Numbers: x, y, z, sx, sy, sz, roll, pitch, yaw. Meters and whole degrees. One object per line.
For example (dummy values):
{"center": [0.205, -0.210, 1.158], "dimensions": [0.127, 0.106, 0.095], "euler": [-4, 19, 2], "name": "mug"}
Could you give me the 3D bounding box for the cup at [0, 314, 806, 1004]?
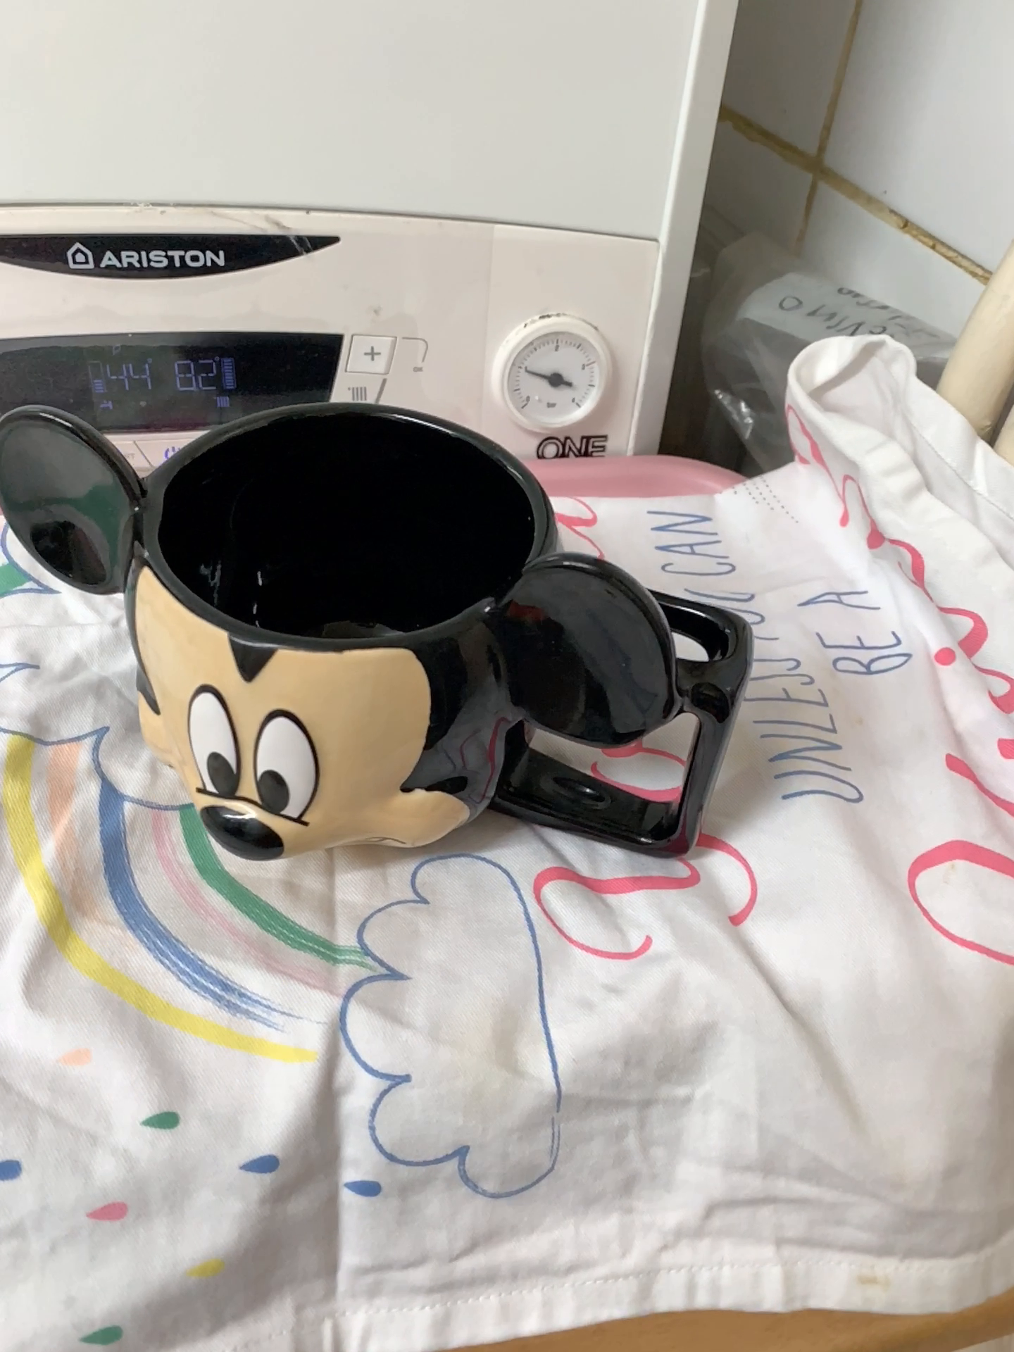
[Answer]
{"center": [-0.037, -0.014, 0.256], "dimensions": [0.190, 0.079, 0.101], "euler": [15, 41, 11], "name": "cup"}
